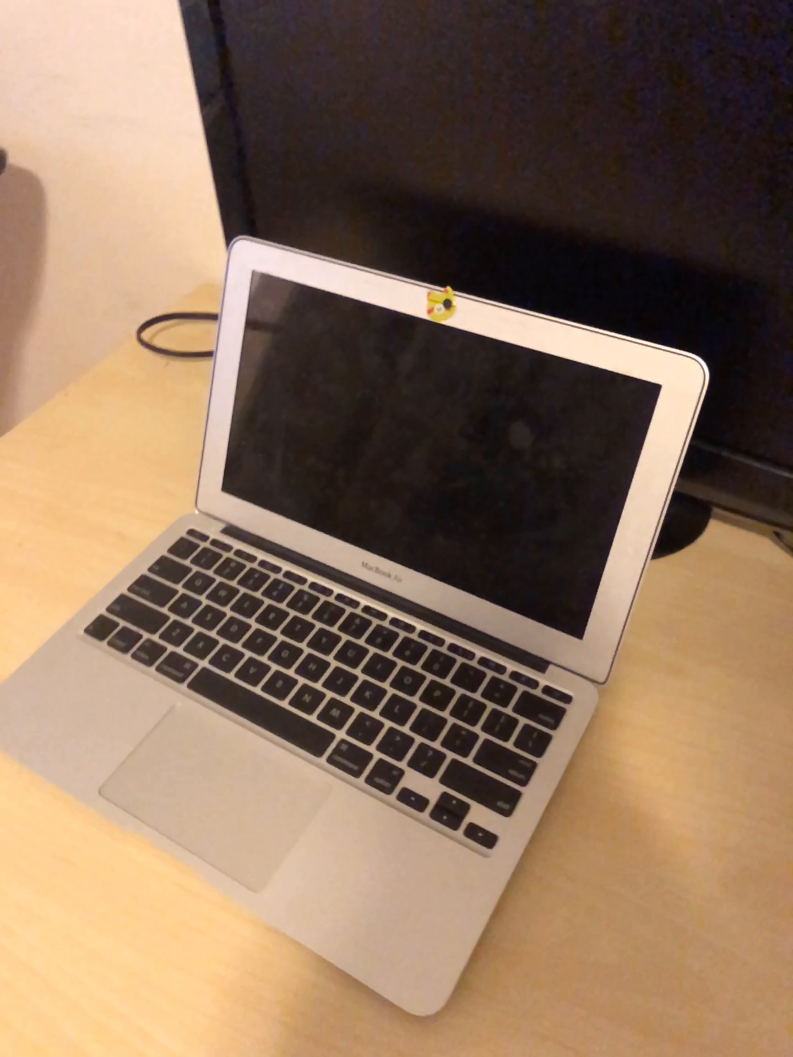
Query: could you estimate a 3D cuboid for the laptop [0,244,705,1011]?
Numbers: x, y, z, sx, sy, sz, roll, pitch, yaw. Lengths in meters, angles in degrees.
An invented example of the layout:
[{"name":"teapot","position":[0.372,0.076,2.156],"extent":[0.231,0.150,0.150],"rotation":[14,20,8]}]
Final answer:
[{"name":"laptop","position":[-0.044,0.015,0.453],"extent":[0.291,0.160,0.275],"rotation":[21,49,23]}]
